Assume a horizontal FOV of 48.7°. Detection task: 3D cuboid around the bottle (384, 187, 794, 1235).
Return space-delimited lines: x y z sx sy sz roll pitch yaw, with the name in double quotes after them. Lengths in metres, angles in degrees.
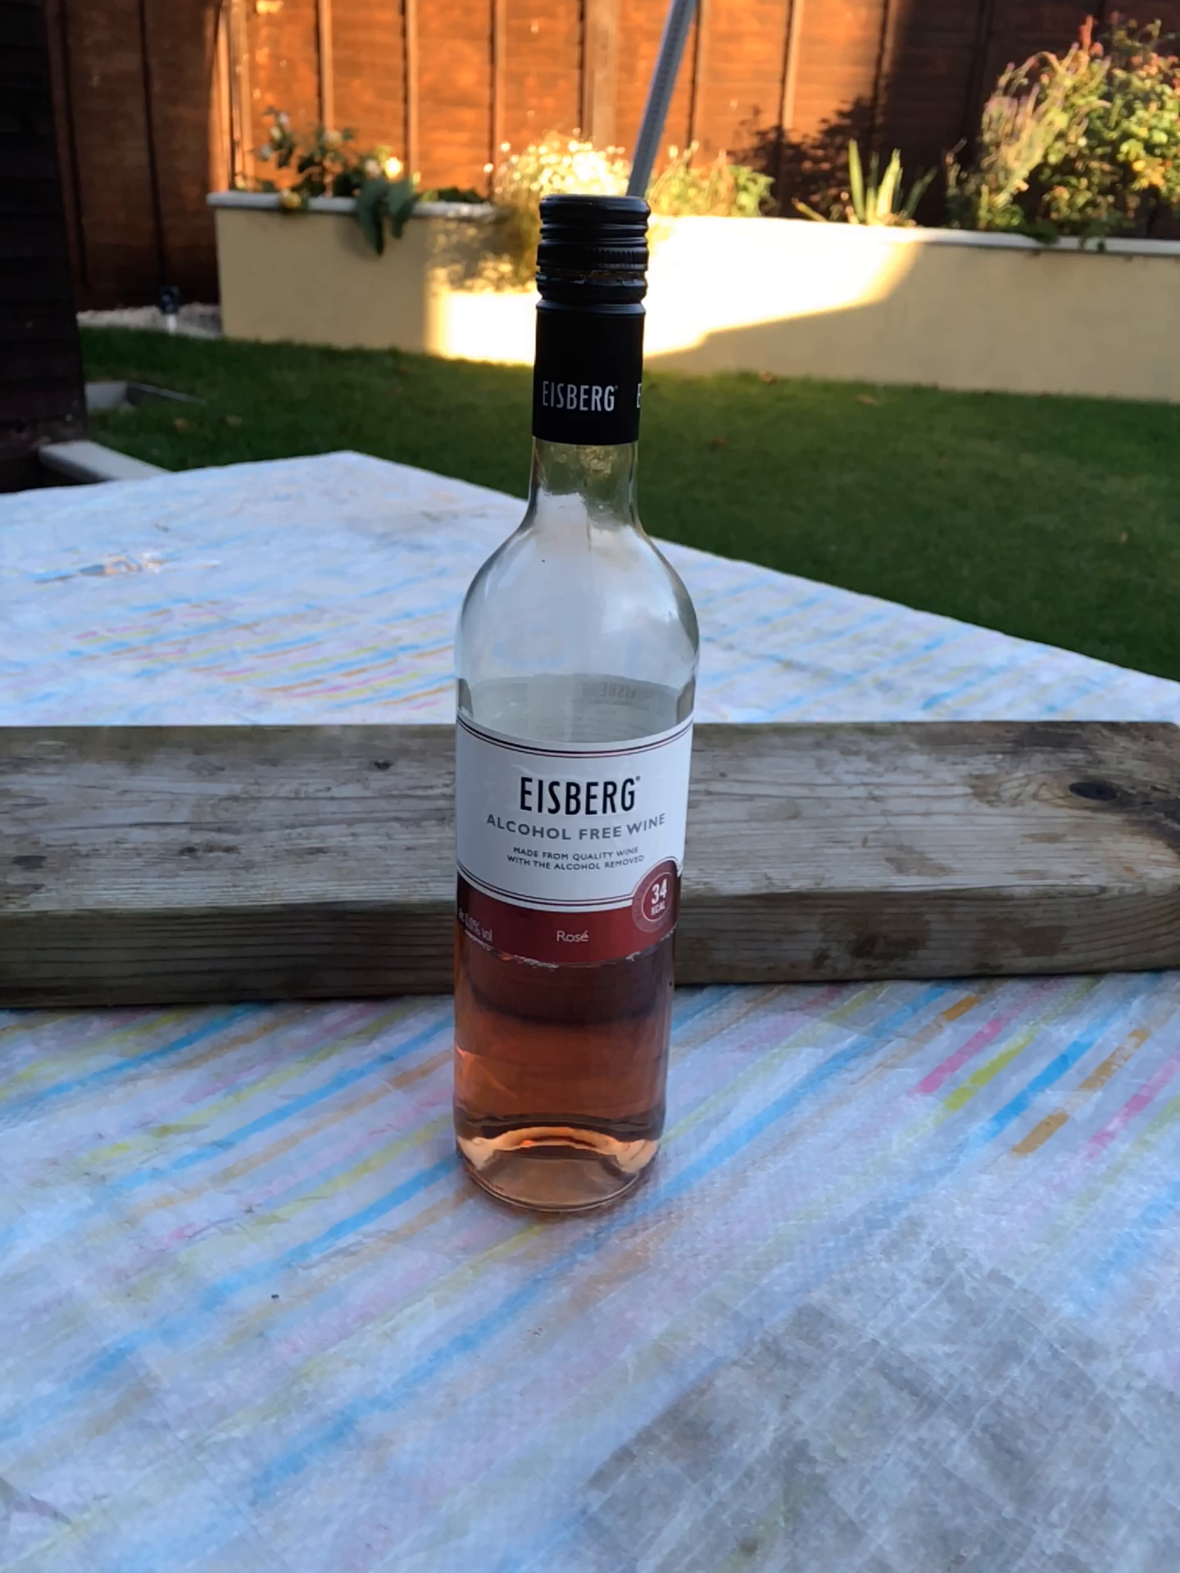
-0.009 -0.013 0.378 0.090 0.288 0.081 -1 24 -7 "bottle"
